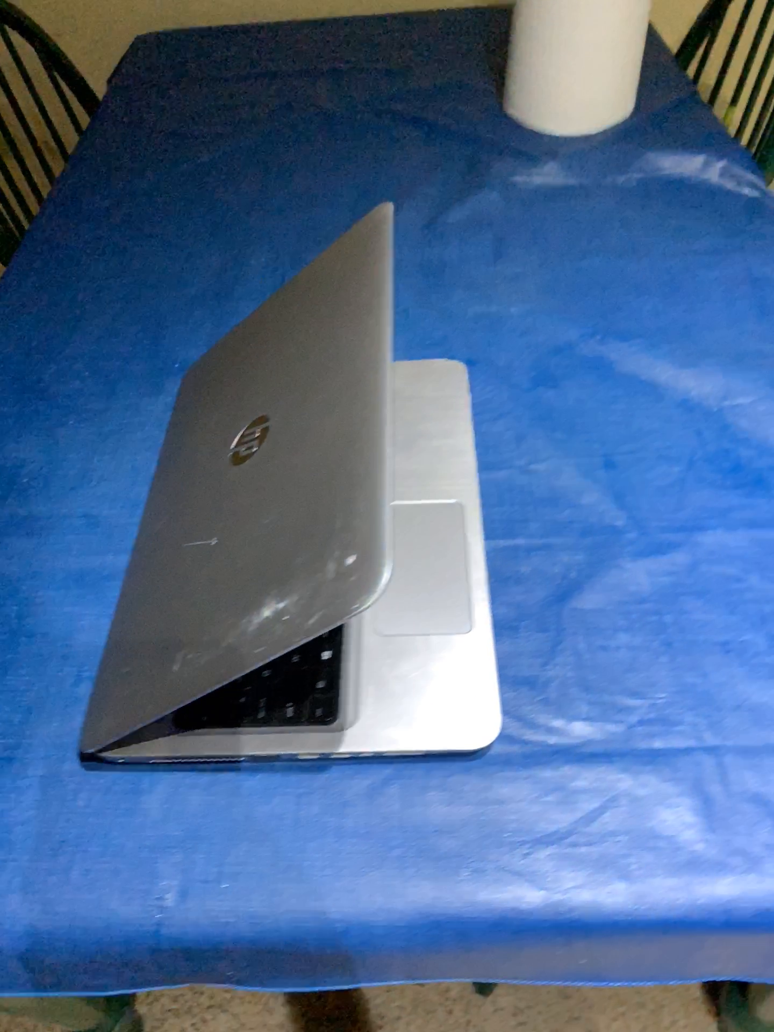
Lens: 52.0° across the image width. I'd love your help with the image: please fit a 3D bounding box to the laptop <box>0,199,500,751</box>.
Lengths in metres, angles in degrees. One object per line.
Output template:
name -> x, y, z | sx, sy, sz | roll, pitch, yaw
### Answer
laptop -> -0.066, -0.048, 0.553 | 0.253, 0.156, 0.368 | -2, 49, 3
